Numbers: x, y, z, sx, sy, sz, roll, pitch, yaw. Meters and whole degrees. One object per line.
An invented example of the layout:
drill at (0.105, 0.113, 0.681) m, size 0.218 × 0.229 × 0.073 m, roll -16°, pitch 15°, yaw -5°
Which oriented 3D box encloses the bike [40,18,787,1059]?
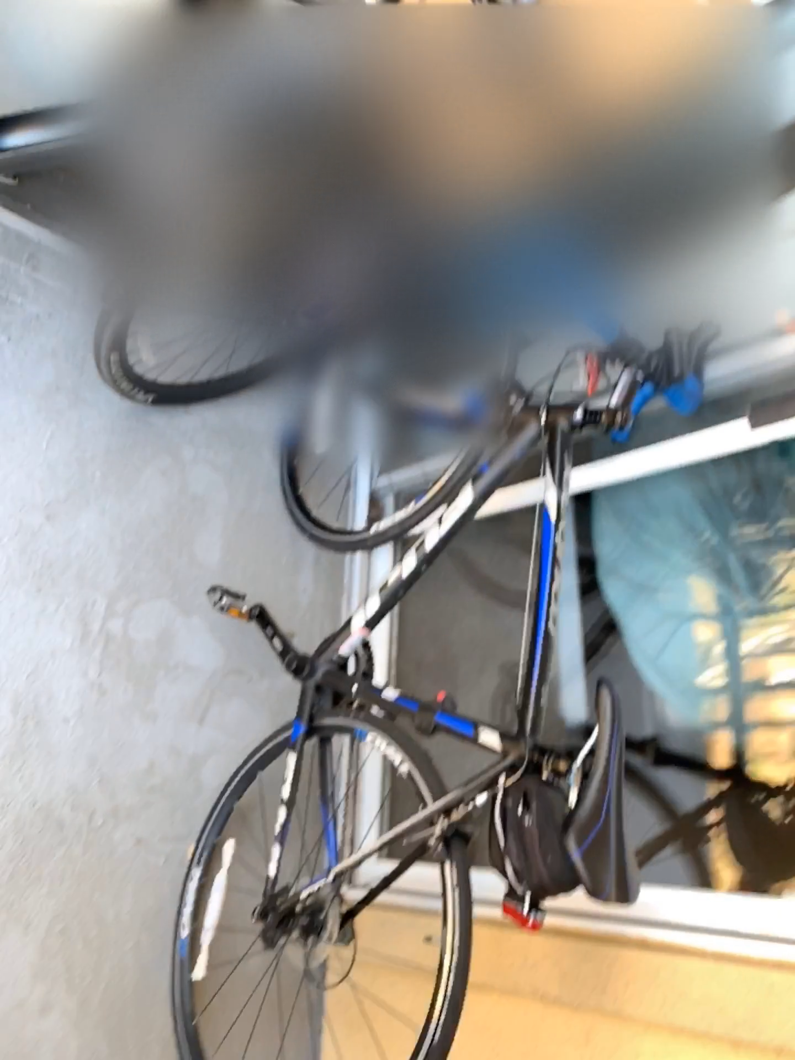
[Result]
bike at (0.047, 0.155, 1.298) m, size 0.364 × 0.933 × 1.502 m, roll 27°, pitch 64°, yaw -39°

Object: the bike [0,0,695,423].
bike at (-0.455, -0.727, 1.015) m, size 1.589 × 0.972 × 0.622 m, roll 10°, pitch 71°, yaw -46°
